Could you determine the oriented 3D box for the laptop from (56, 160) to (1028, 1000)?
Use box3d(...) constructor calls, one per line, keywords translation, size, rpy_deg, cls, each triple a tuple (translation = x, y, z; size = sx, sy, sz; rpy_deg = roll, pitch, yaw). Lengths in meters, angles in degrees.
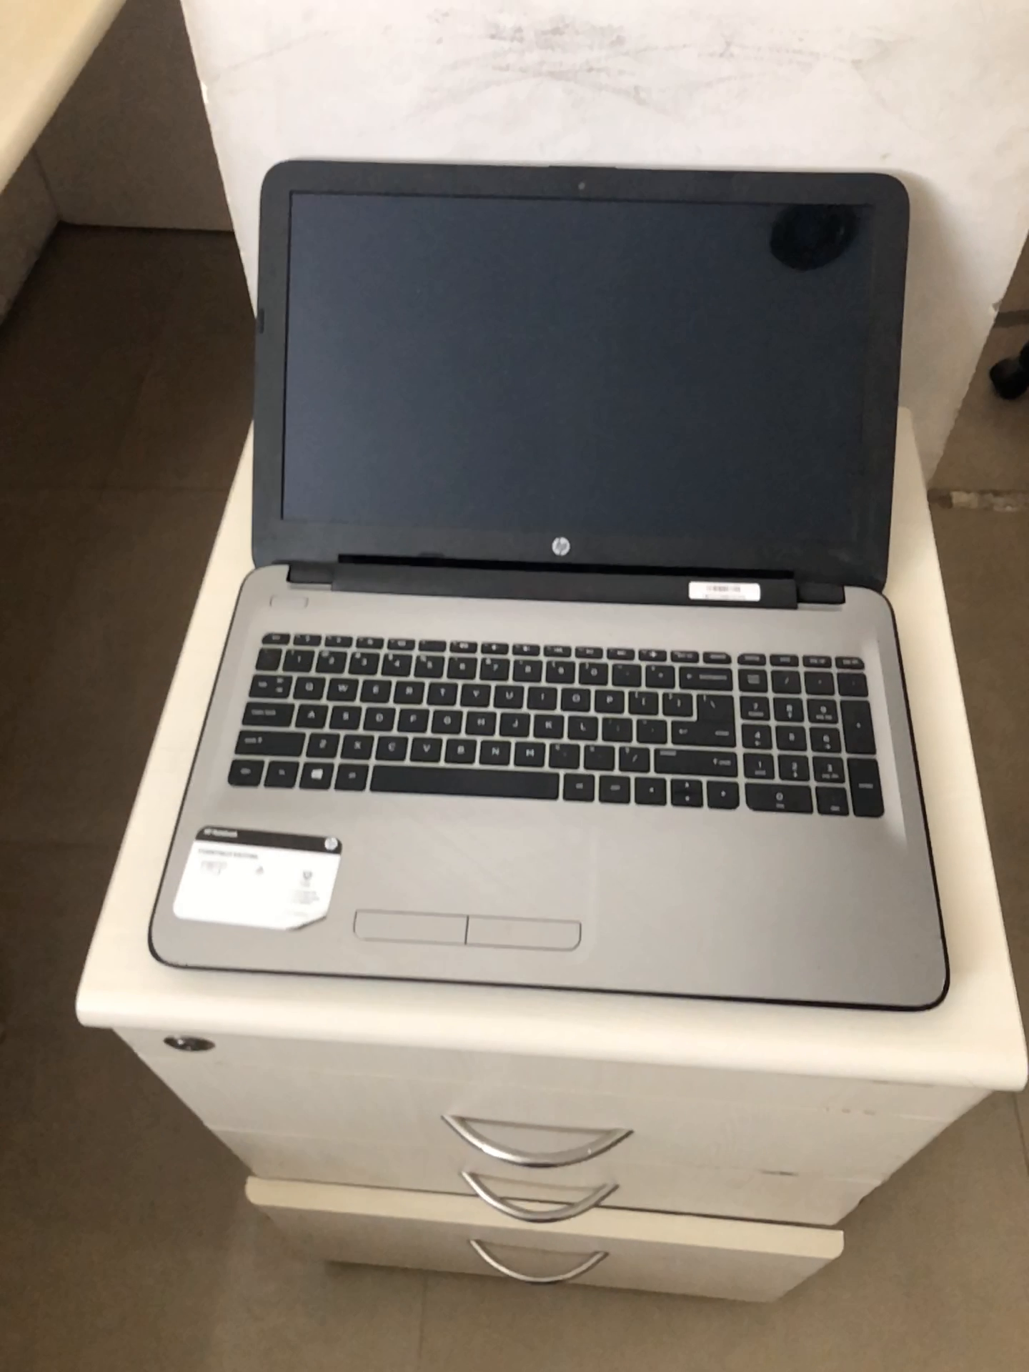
box3d(translation=(0.025, -0.082, 0.589), size=(0.361, 0.136, 0.427), rpy_deg=(3, 56, 3), cls="laptop")
